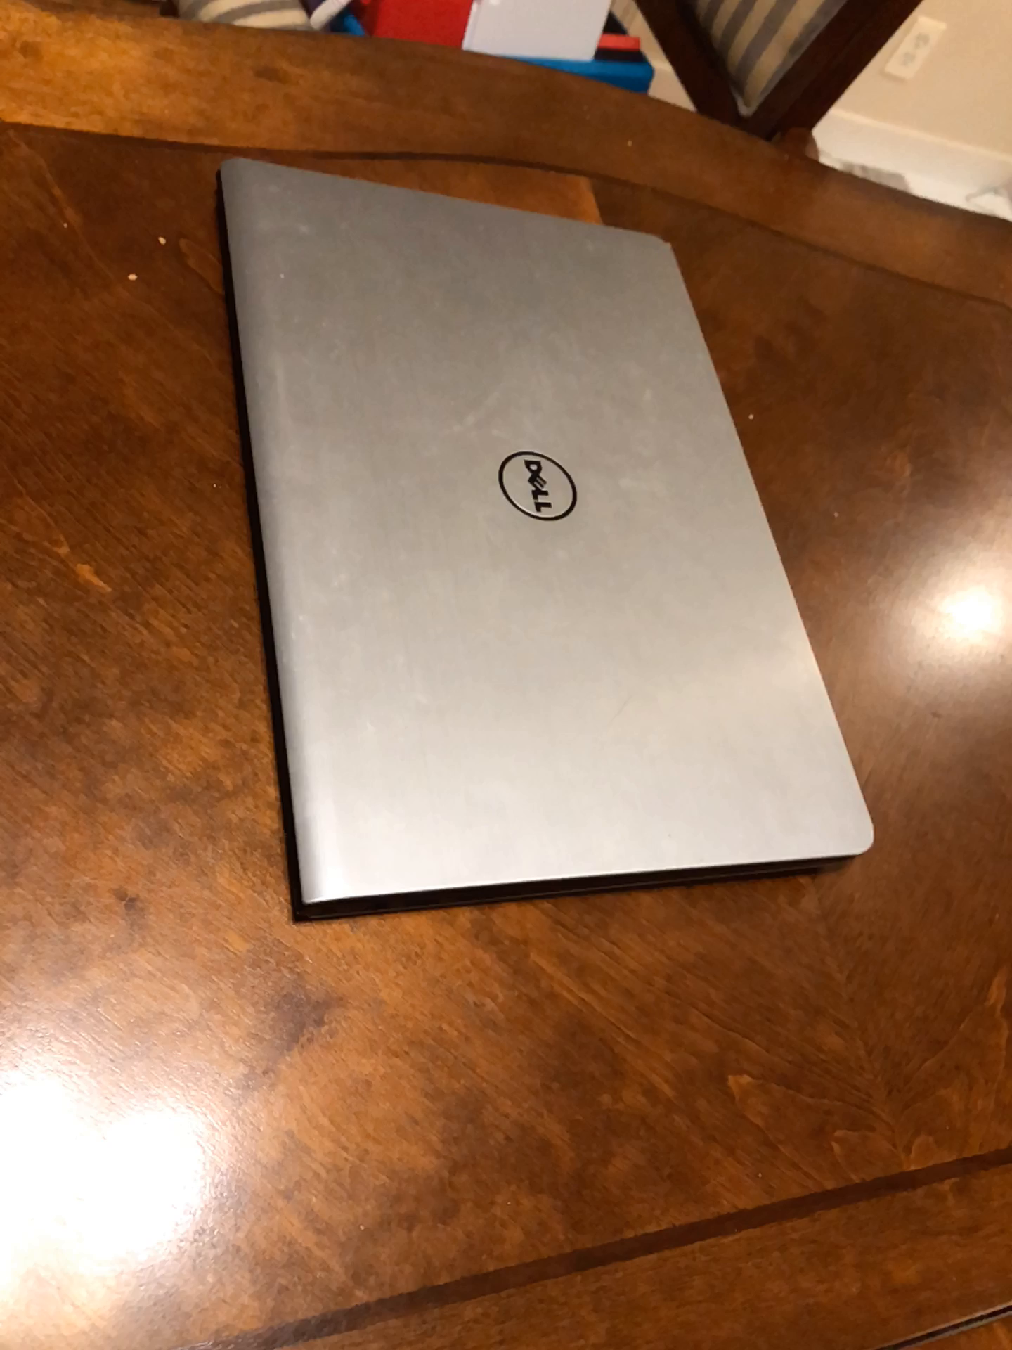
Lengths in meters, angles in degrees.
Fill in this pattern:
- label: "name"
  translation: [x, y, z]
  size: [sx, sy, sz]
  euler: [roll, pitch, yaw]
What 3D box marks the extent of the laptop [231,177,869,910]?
- label: "laptop"
  translation: [0.011, -0.081, 0.512]
  size: [0.243, 0.002, 0.365]
  euler: [0, 62, -24]
